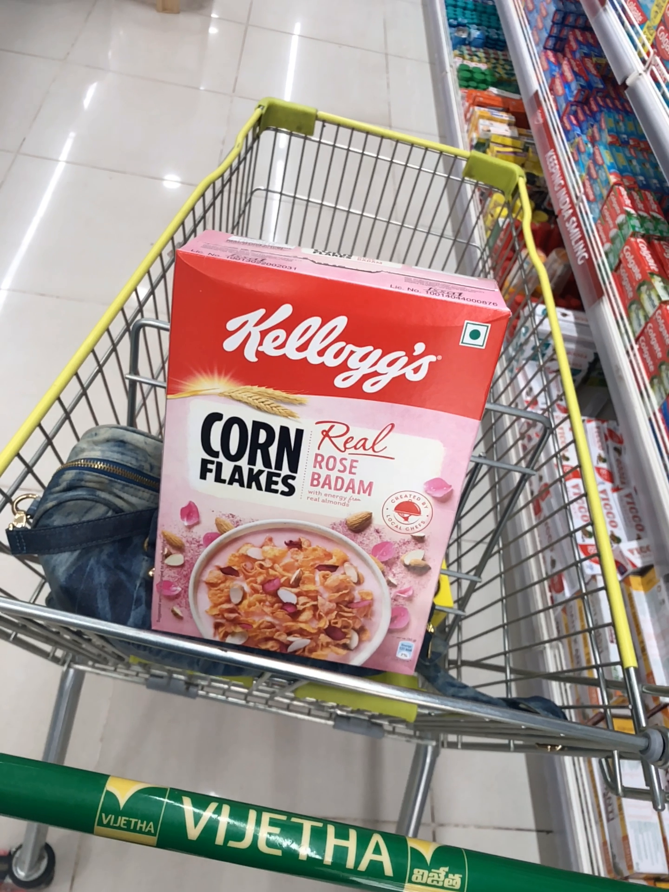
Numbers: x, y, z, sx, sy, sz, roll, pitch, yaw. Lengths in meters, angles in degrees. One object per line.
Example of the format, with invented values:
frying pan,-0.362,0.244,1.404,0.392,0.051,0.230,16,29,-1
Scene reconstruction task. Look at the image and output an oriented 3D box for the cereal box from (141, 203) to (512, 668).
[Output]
cereal box,-0.020,0.006,0.489,0.190,0.279,0.070,10,31,-1
